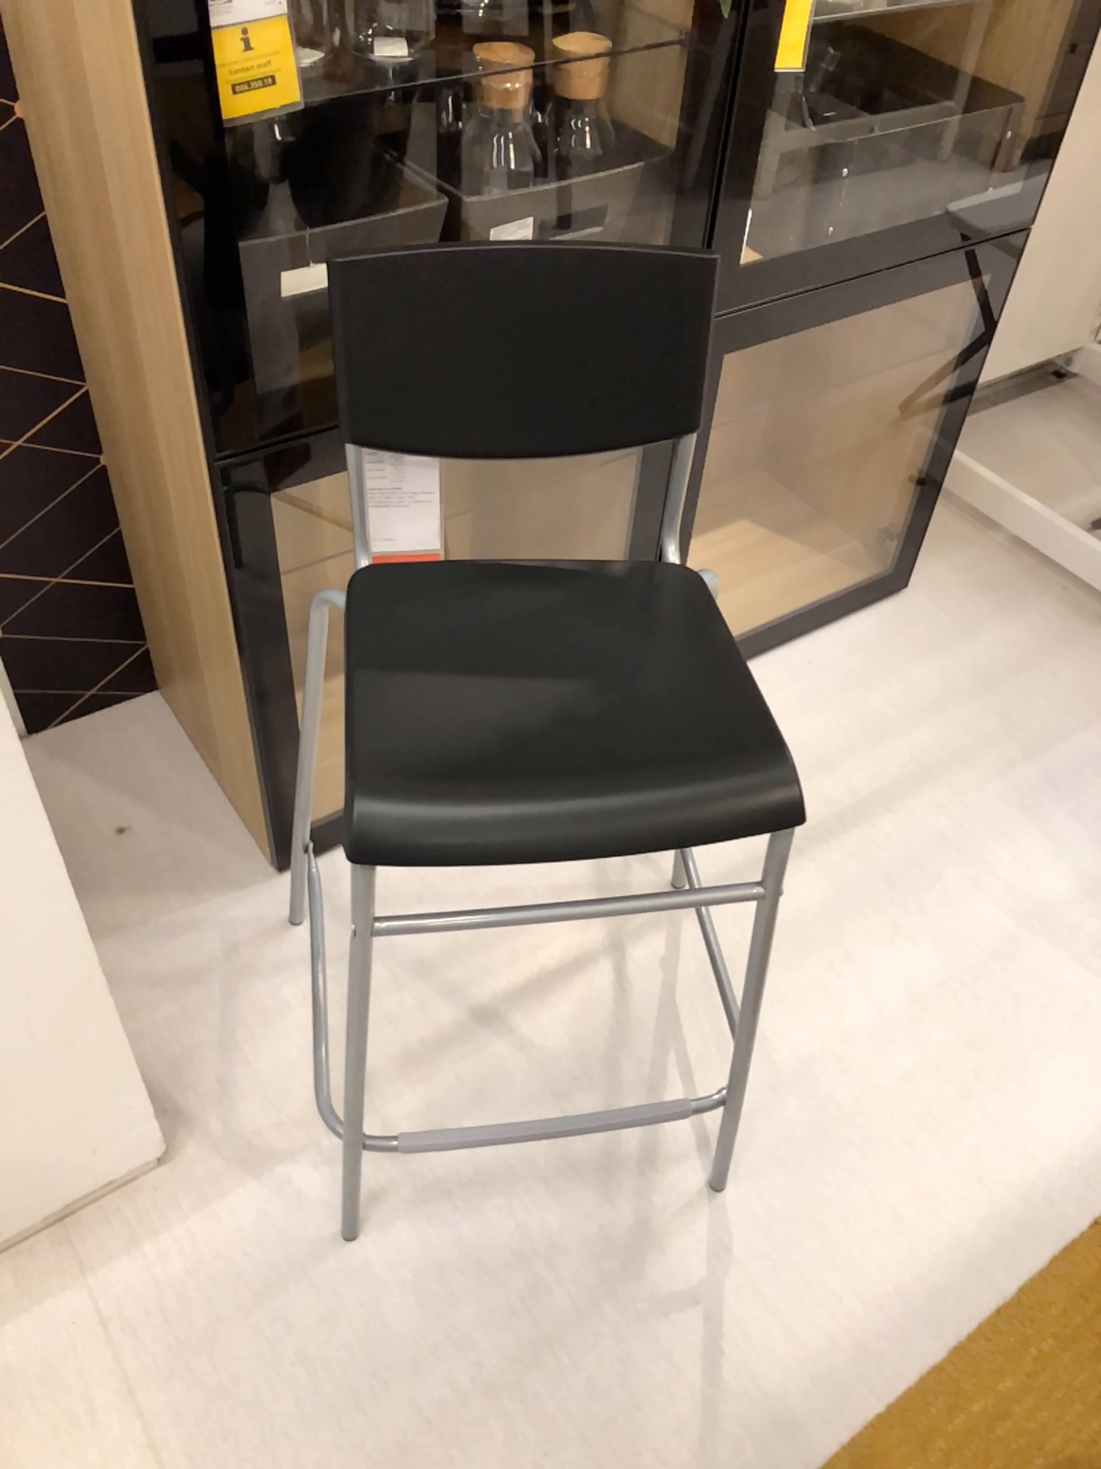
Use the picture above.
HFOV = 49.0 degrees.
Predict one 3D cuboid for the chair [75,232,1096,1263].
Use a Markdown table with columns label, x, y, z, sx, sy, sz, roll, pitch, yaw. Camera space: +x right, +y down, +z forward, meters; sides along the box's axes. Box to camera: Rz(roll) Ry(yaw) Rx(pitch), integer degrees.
| label | x | y | z | sx | sy | sz | roll | pitch | yaw |
| --- | --- | --- | --- | --- | --- | --- | --- | --- | --- |
| chair | -0.021 | 0.041 | 1.068 | 0.540 | 0.765 | 0.483 | -3 | 46 | -8 |
